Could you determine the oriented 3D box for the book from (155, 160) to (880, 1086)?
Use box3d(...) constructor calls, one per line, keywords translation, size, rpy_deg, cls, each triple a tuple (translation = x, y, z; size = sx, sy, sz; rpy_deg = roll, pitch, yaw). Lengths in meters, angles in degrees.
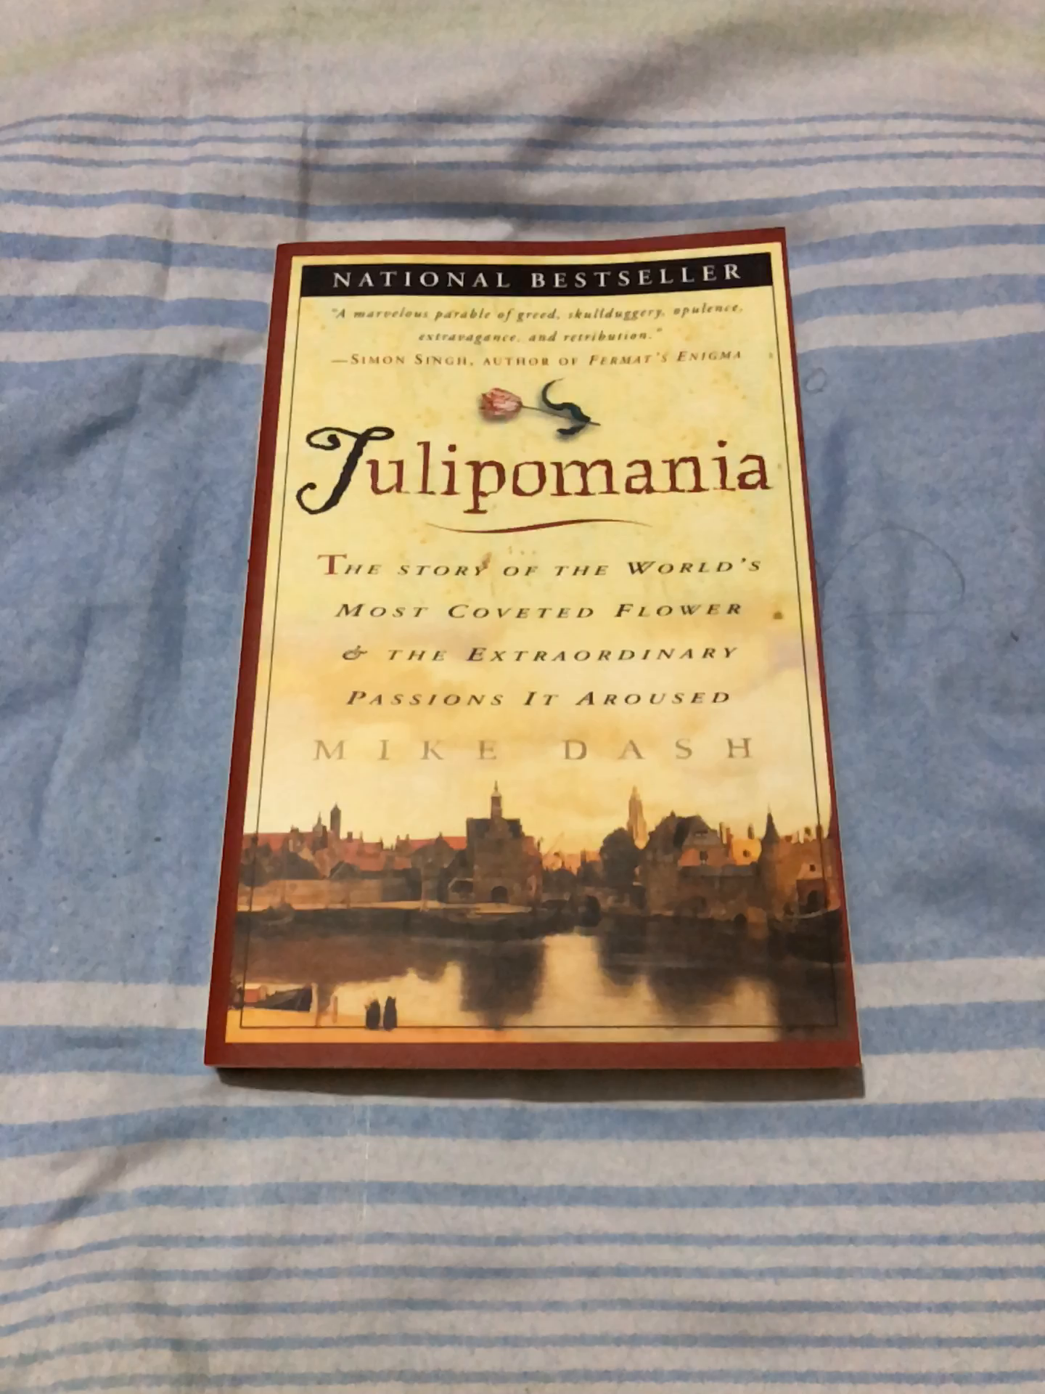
box3d(translation=(-0.001, -0.026, 0.291), size=(0.140, 0.050, 0.230), rpy_deg=(0, 68, 0), cls="book")
